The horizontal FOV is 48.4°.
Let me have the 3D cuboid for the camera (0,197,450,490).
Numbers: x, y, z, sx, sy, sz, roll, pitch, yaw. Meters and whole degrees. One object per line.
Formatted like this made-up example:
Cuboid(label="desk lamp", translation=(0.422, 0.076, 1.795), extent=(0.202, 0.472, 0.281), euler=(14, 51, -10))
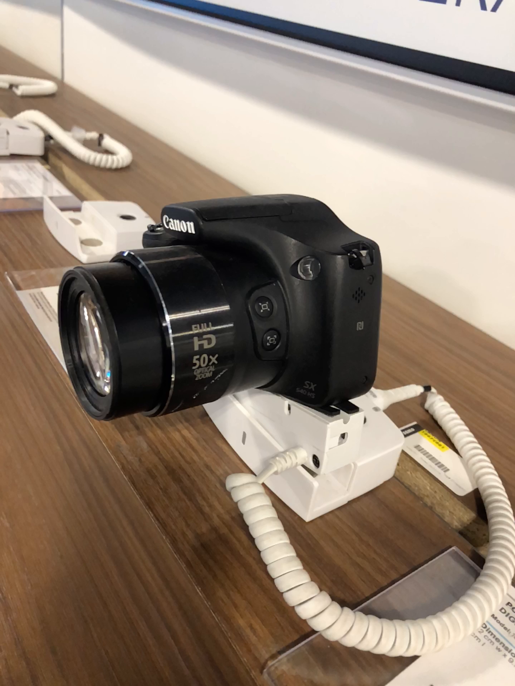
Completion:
Cuboid(label="camera", translation=(-0.018, -0.020, 0.248), extent=(0.140, 0.070, 0.130), euler=(-14, 23, -37))
